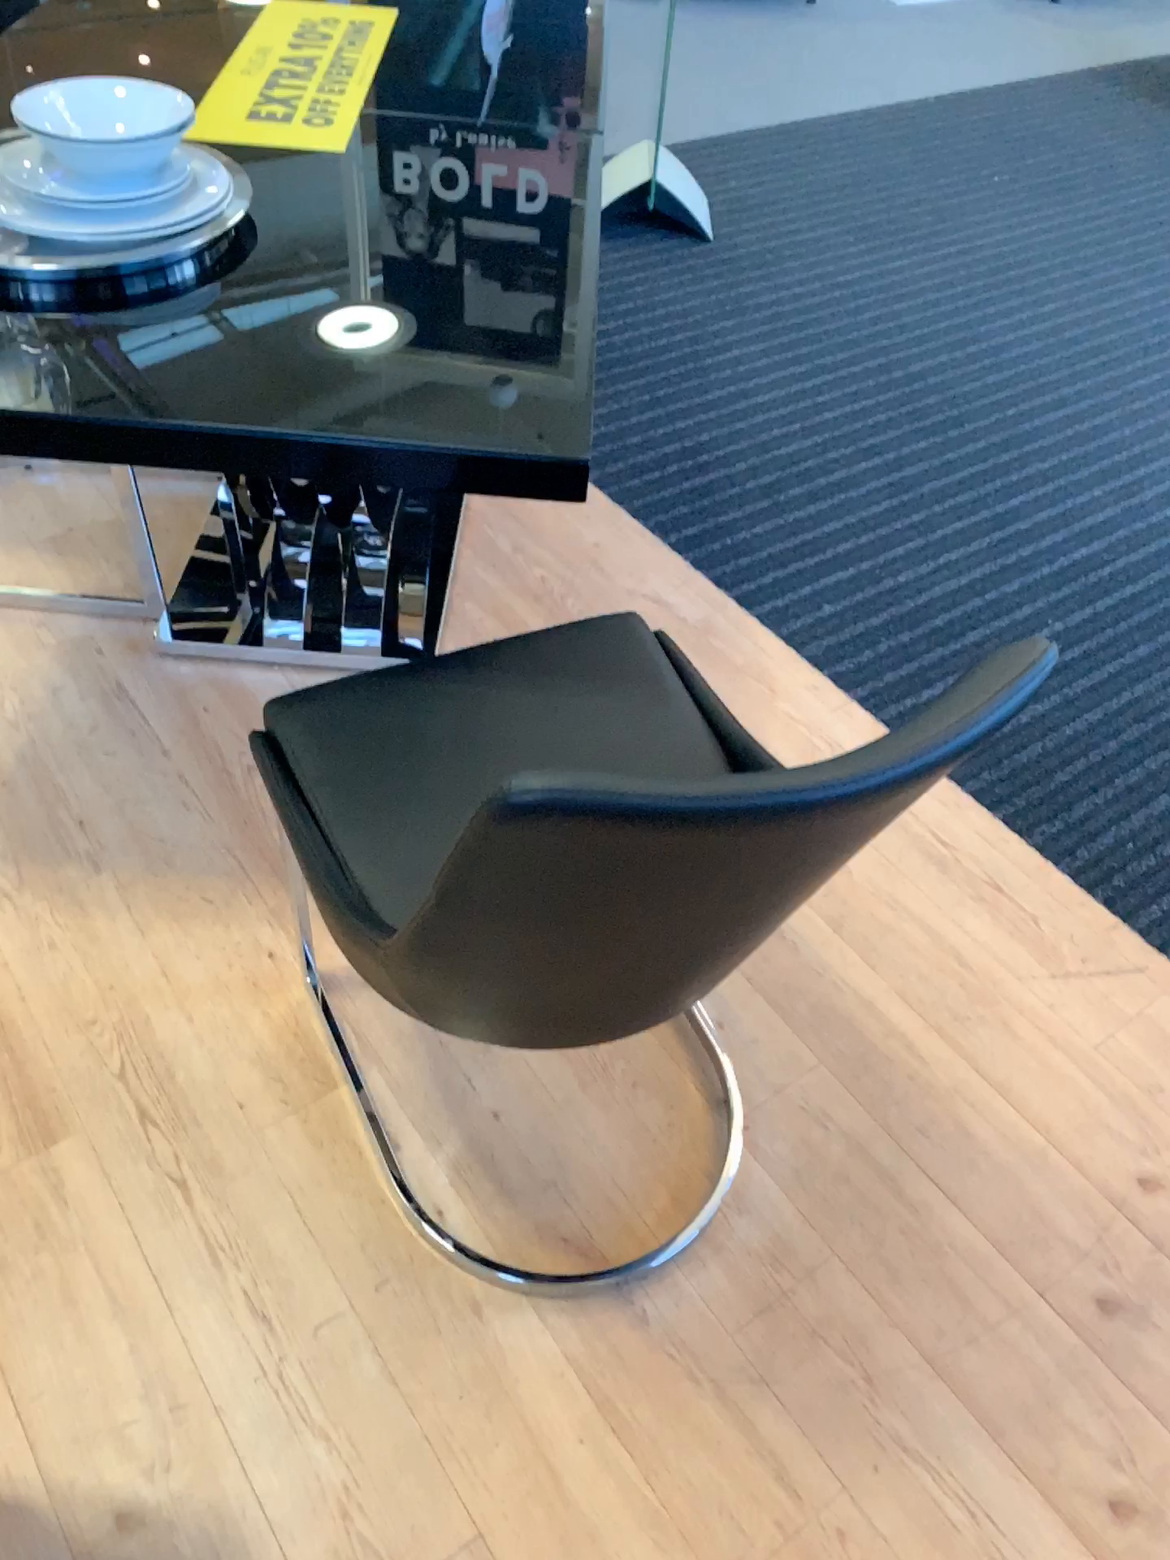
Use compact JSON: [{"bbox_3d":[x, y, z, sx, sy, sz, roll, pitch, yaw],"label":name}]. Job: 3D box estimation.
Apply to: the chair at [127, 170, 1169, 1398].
[{"bbox_3d":[-0.007,0.006,1.095,0.507,0.812,0.633,-18,50,-21],"label":"chair"}]
